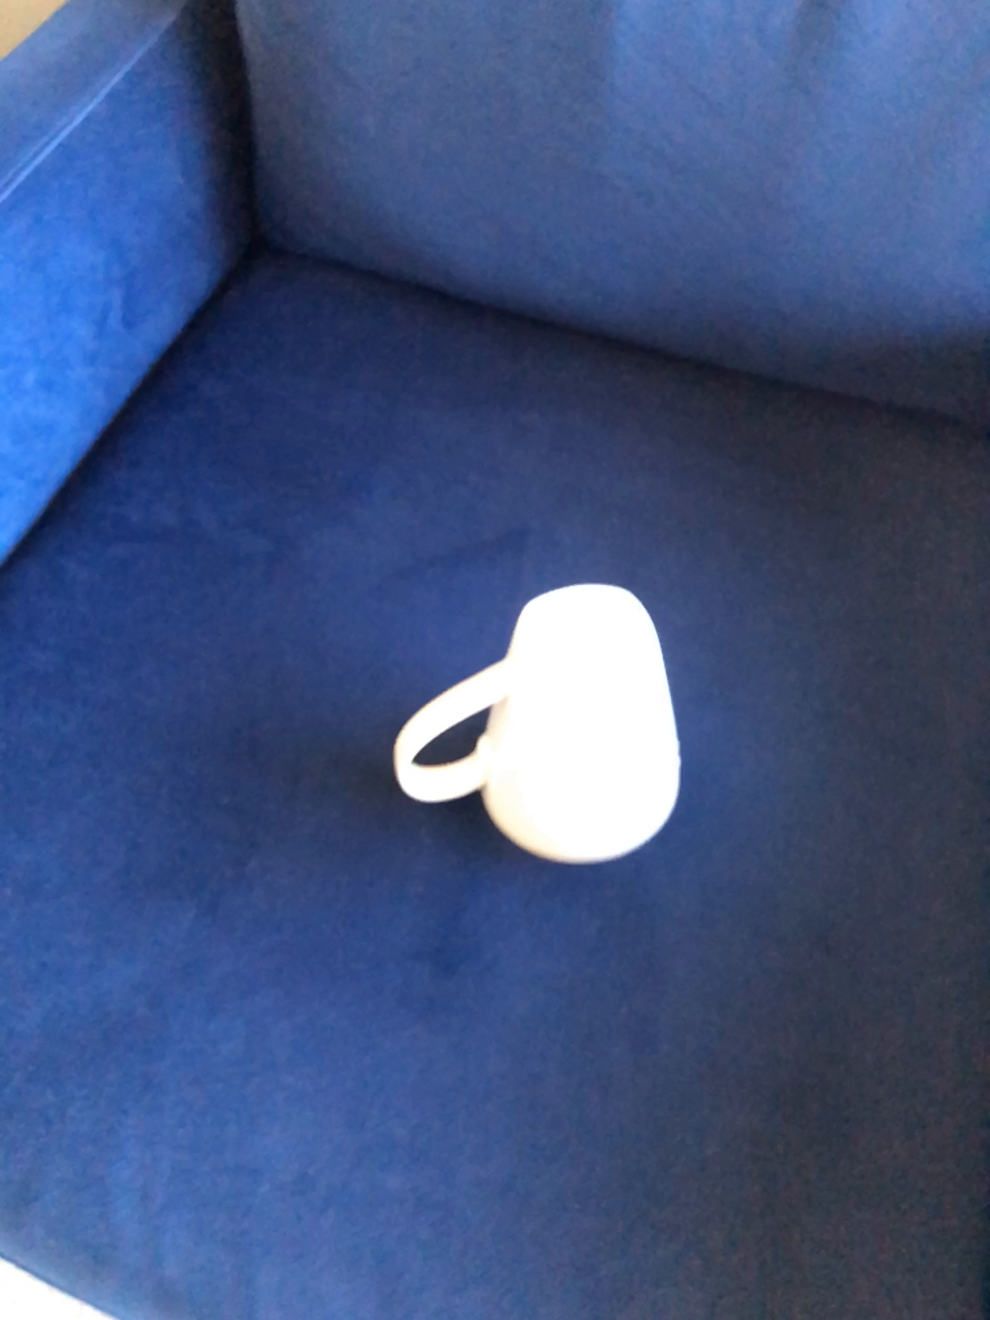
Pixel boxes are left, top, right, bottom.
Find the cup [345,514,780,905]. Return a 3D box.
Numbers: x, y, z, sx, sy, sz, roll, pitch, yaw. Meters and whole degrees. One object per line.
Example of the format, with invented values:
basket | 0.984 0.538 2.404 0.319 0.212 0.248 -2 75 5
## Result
cup | 0.024 0.022 0.477 0.150 0.090 0.110 -11 57 -4
